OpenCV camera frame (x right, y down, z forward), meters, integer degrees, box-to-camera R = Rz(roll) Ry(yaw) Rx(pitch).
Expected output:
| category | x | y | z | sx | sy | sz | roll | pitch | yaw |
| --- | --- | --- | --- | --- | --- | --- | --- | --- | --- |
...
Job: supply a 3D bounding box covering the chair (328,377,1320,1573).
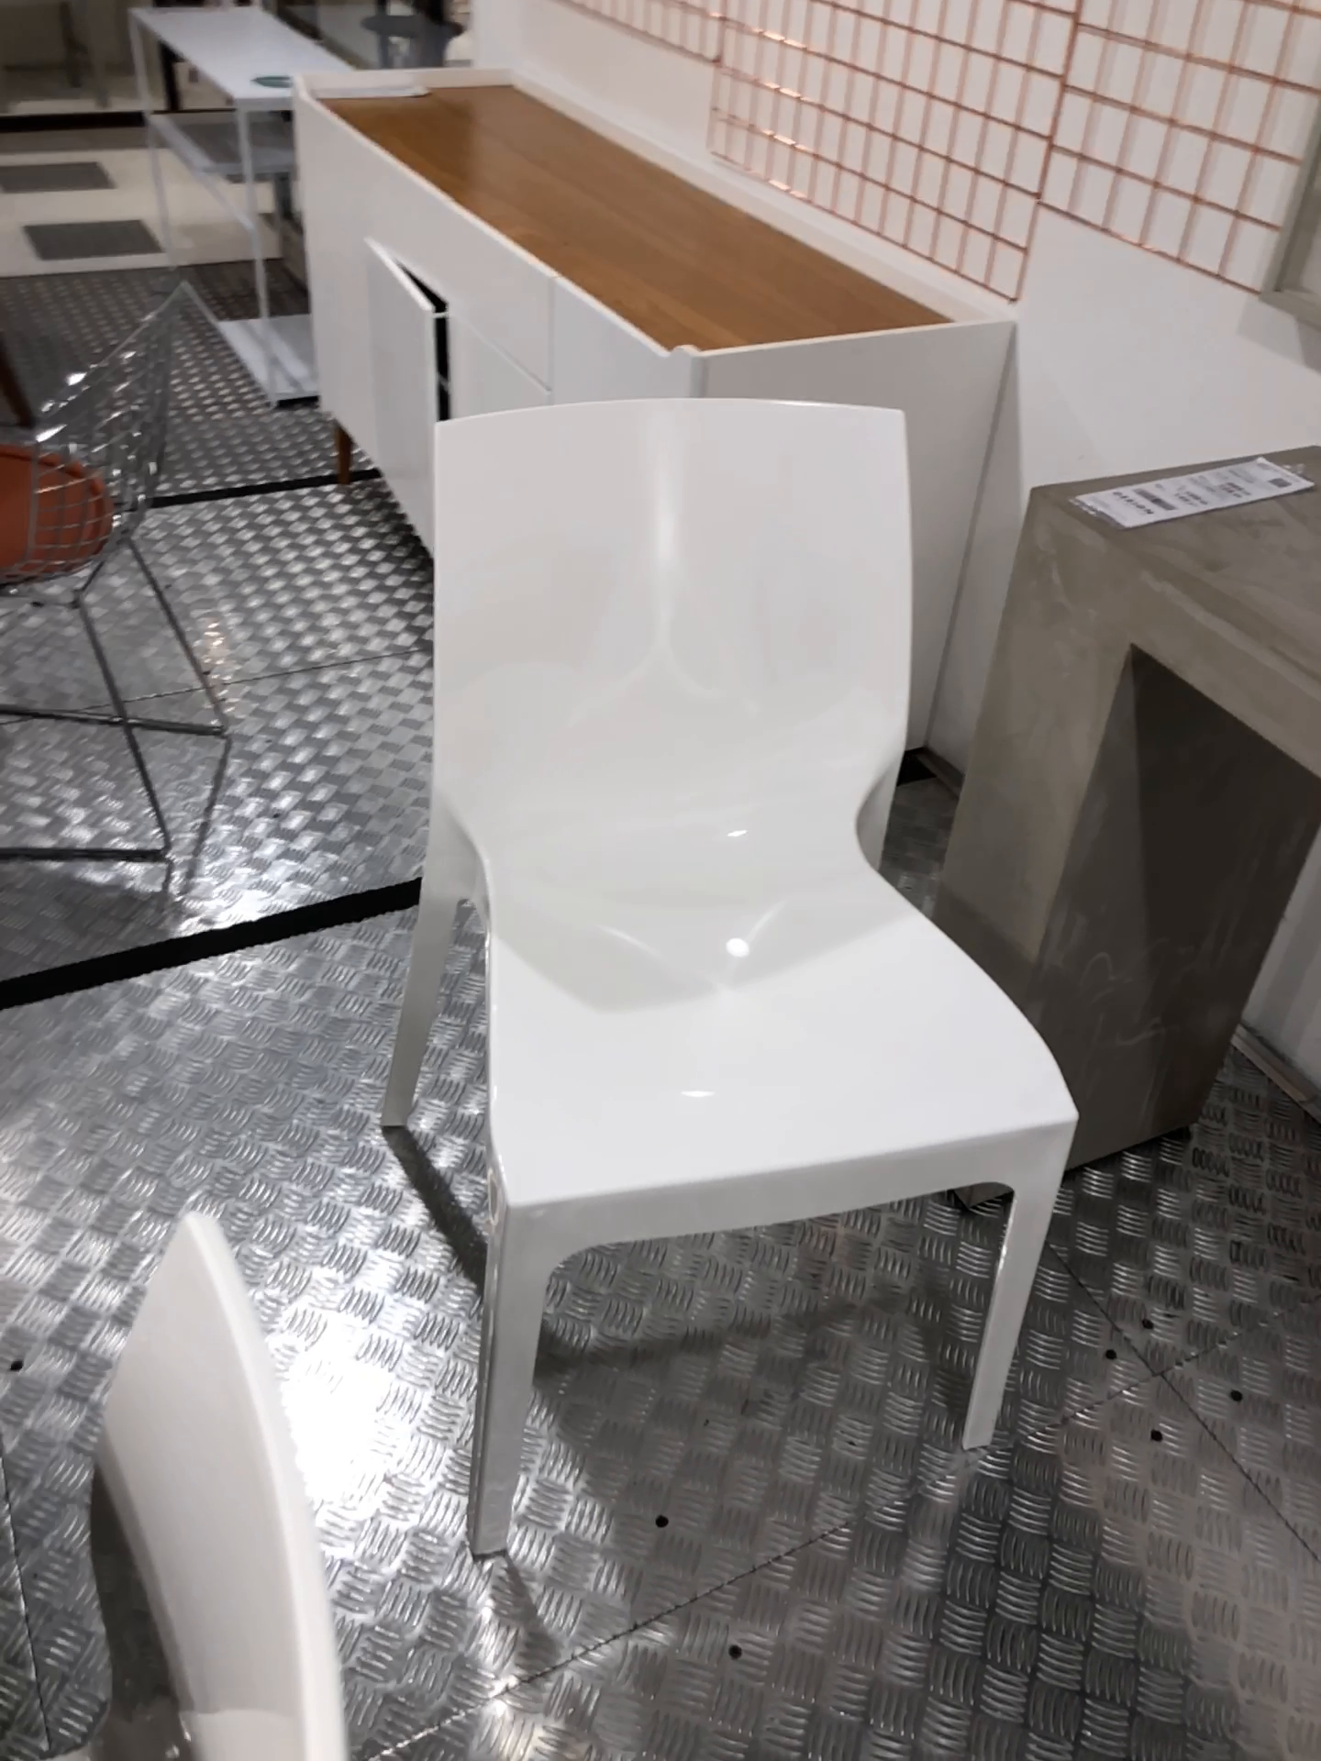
| category | x | y | z | sx | sy | sz | roll | pitch | yaw |
| --- | --- | --- | --- | --- | --- | --- | --- | --- | --- |
| chair | 0.039 | 0.067 | 1.201 | 0.521 | 0.764 | 0.544 | -6 | 39 | -13 |
